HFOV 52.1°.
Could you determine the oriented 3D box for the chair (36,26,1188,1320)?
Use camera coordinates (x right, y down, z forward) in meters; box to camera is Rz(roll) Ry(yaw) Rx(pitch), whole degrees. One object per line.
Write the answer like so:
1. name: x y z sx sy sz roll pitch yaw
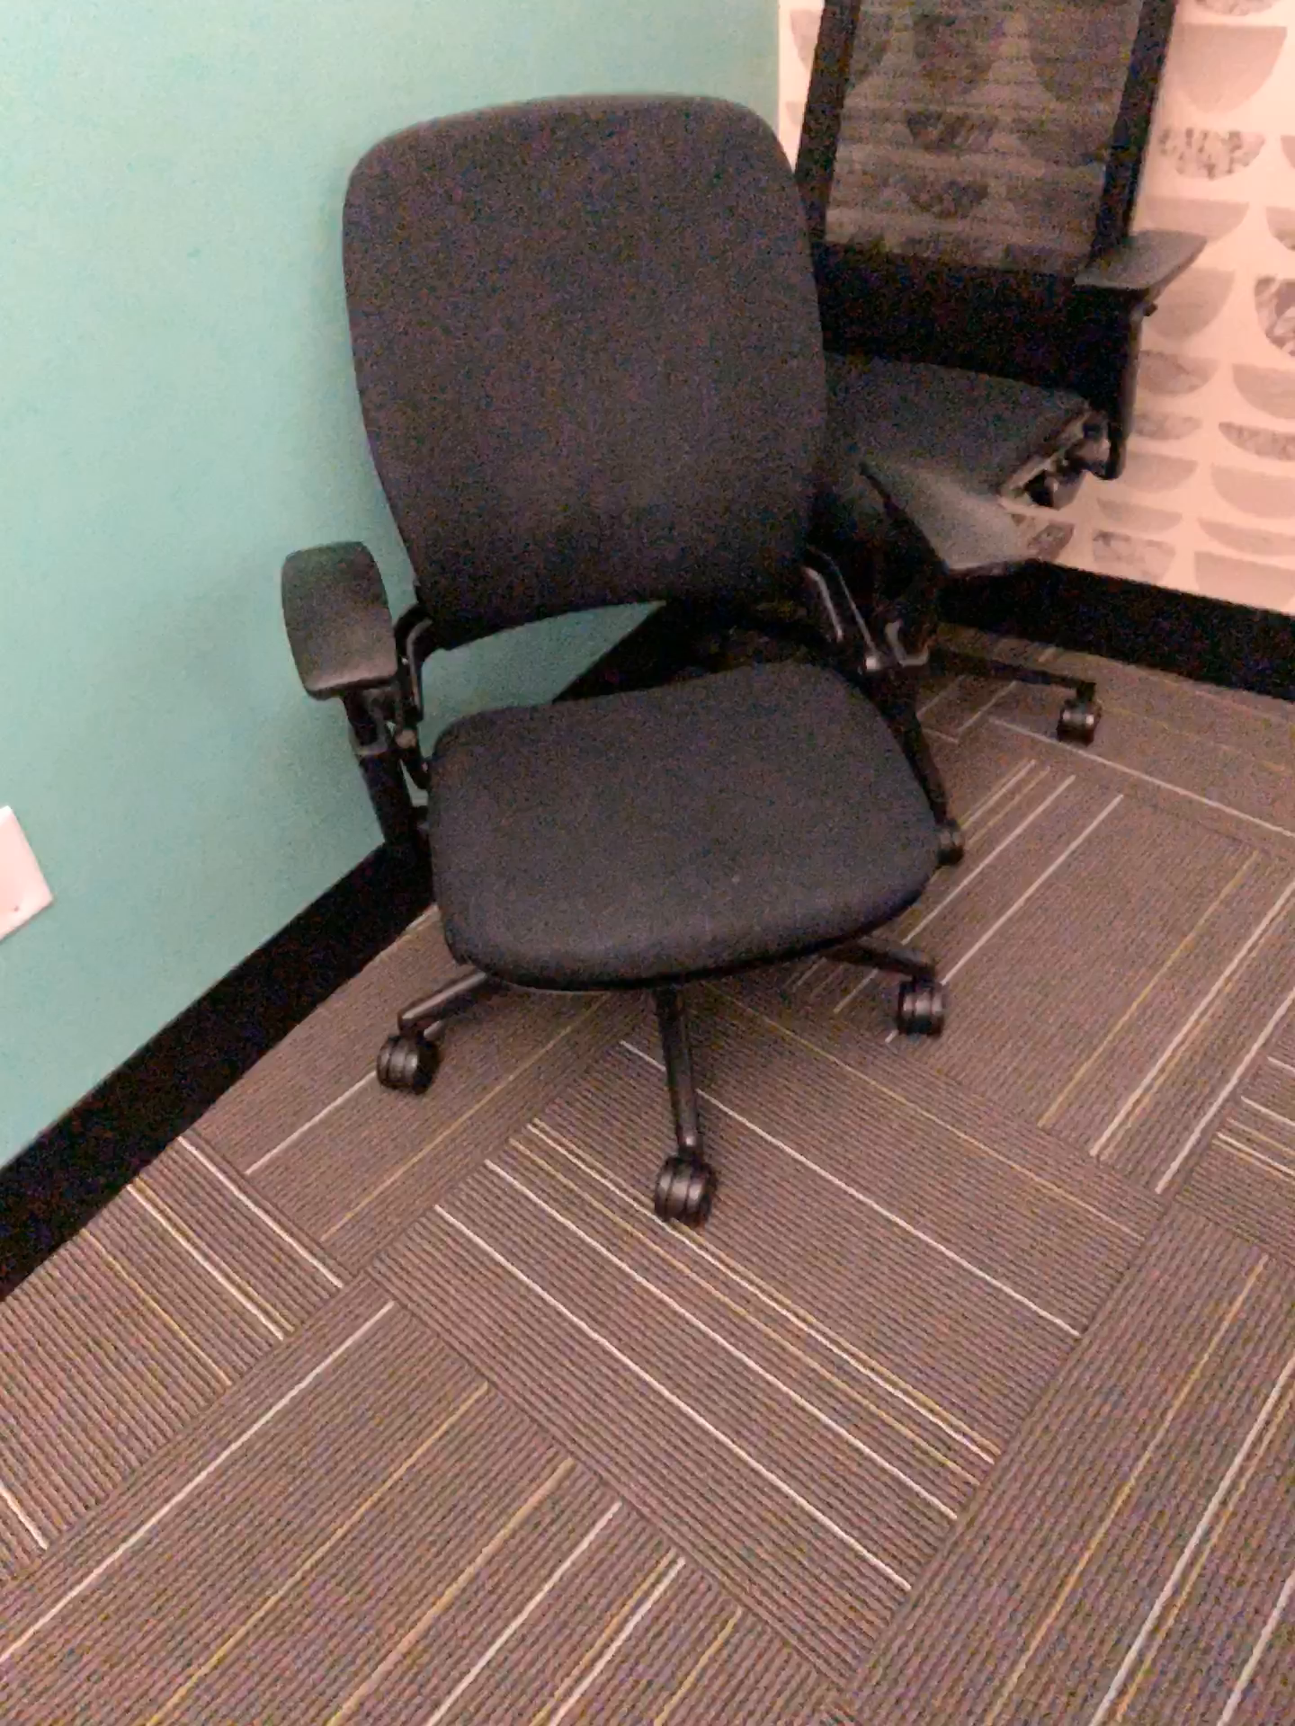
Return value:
1. chair: -0.050 -0.203 1.342 0.660 0.944 0.775 -10 41 -6
